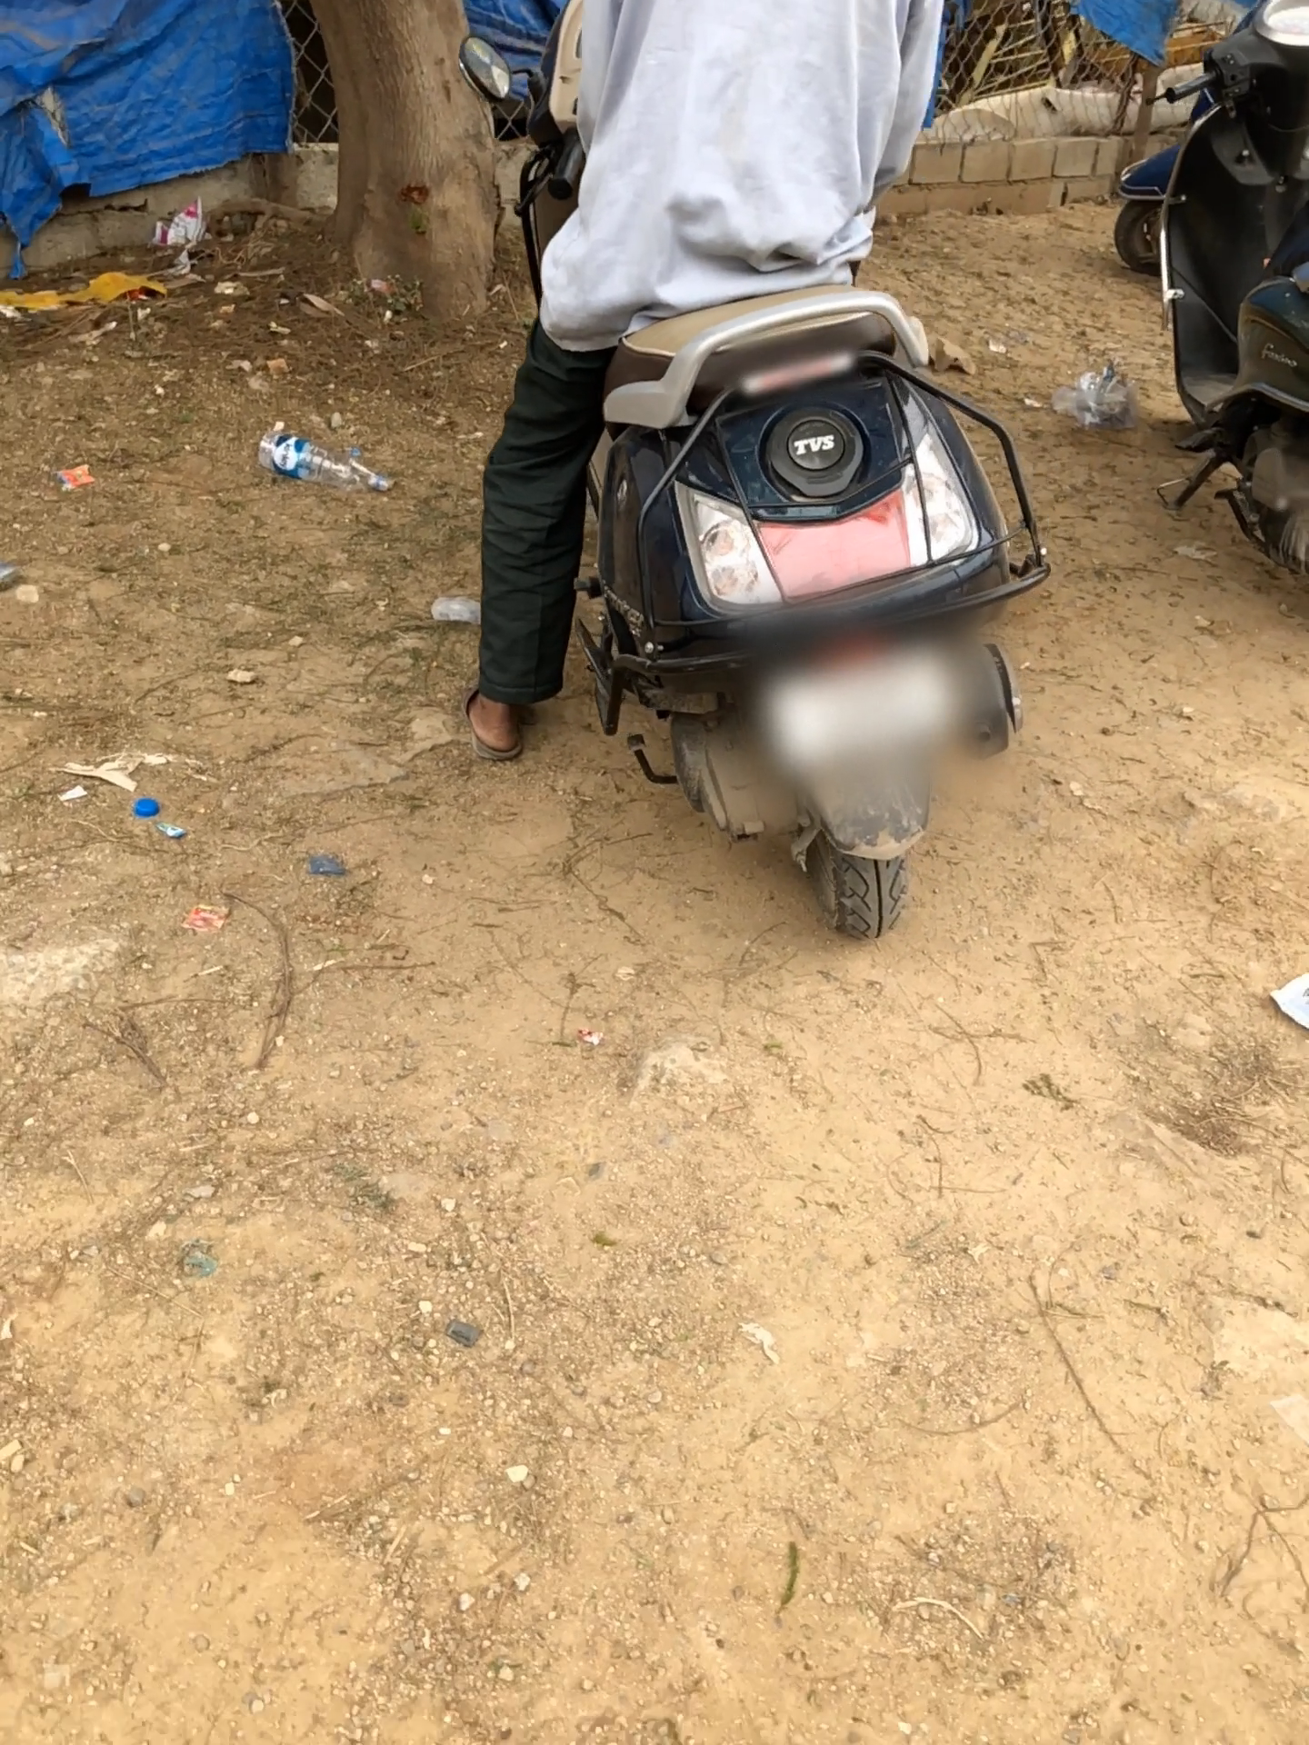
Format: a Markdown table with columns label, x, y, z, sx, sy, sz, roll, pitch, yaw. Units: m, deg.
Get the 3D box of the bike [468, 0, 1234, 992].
| label | x | y | z | sx | sy | sz | roll | pitch | yaw |
| --- | --- | --- | --- | --- | --- | --- | --- | --- | --- |
| bike | 0.085 | -0.817 | 2.026 | 0.634 | 1.119 | 1.350 | 0 | 40 | -9 |
